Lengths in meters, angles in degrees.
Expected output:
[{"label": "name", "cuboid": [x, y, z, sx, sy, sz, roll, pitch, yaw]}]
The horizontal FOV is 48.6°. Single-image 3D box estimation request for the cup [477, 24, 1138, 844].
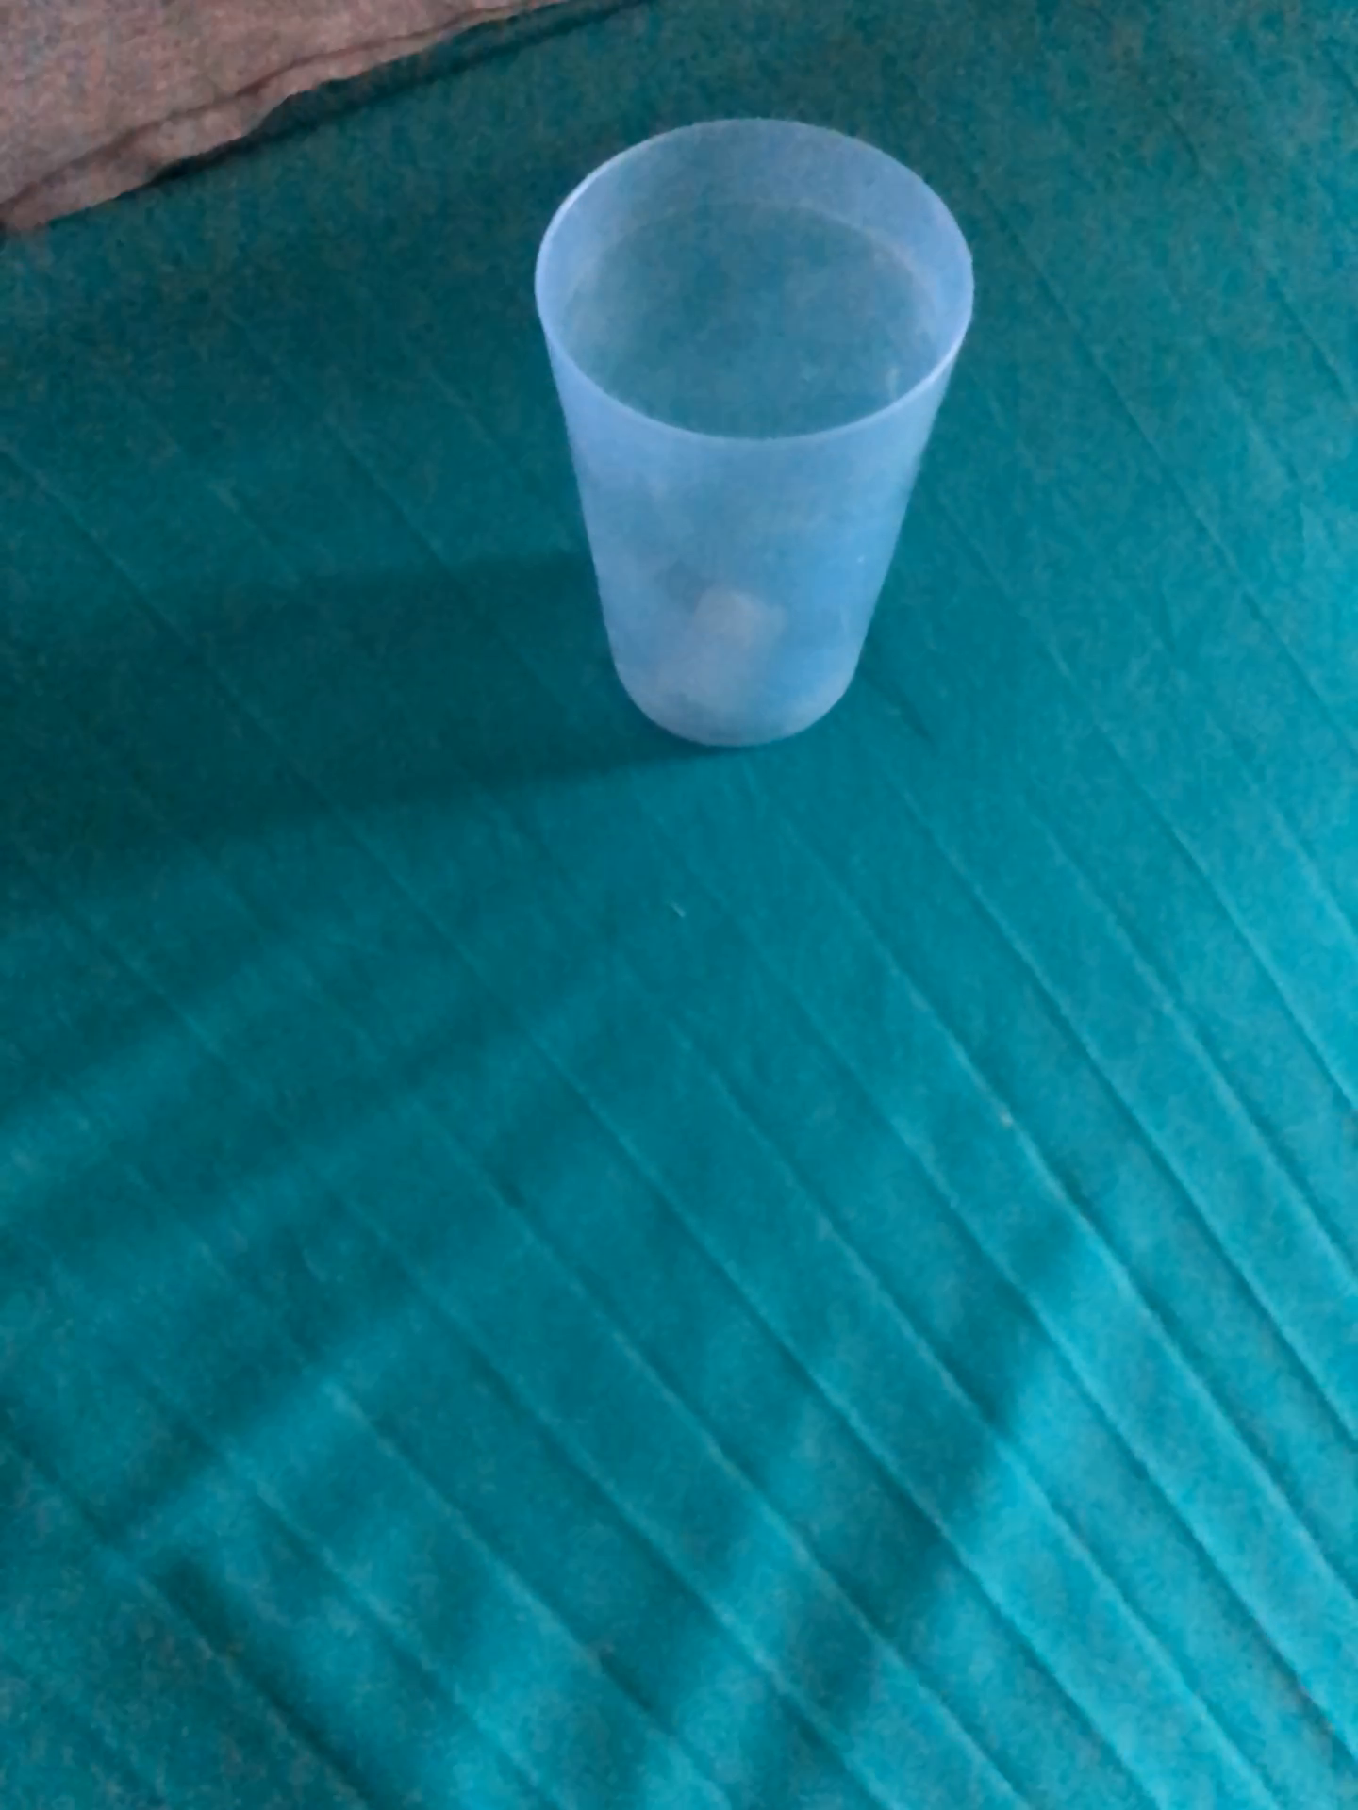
[{"label": "cup", "cuboid": [0.016, -0.078, 0.281, 0.078, 0.119, 0.066, -23, 71, -11]}]
